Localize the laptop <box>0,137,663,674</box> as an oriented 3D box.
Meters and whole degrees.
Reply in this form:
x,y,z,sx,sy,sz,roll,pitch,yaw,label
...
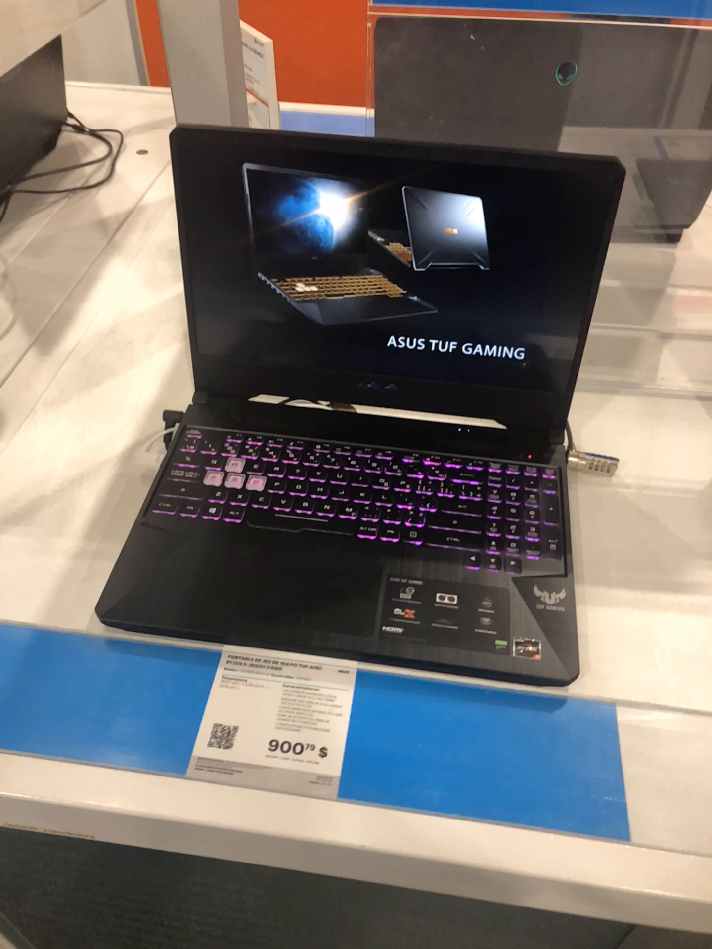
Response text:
x,y,z,sx,sy,sz,roll,pitch,yaw,label
0.005,-0.065,0.594,0.350,0.235,0.302,6,45,5,laptop
